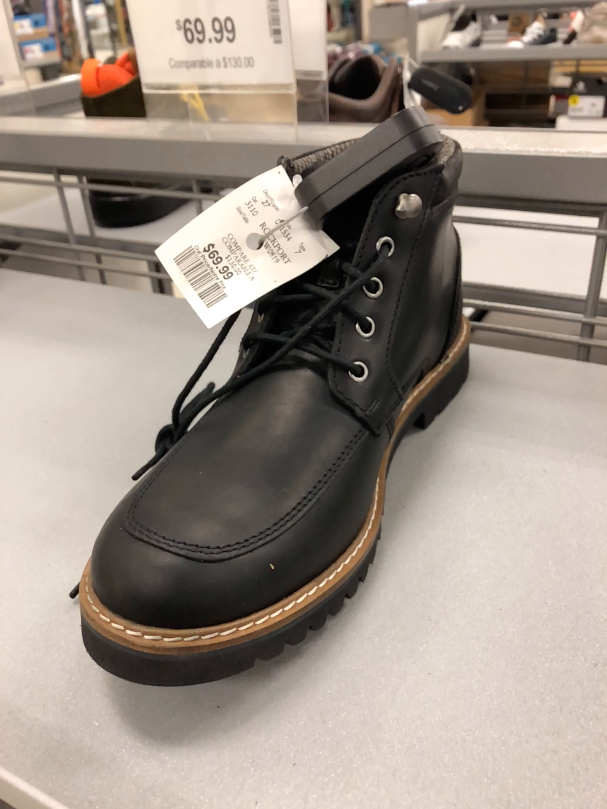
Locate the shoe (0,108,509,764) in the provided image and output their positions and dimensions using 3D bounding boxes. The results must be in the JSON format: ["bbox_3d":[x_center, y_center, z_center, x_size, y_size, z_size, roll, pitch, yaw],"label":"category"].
[{"bbox_3d":[-0.003,-0.026,0.310,0.120,0.139,0.282,12,39,24],"label":"shoe"}]
